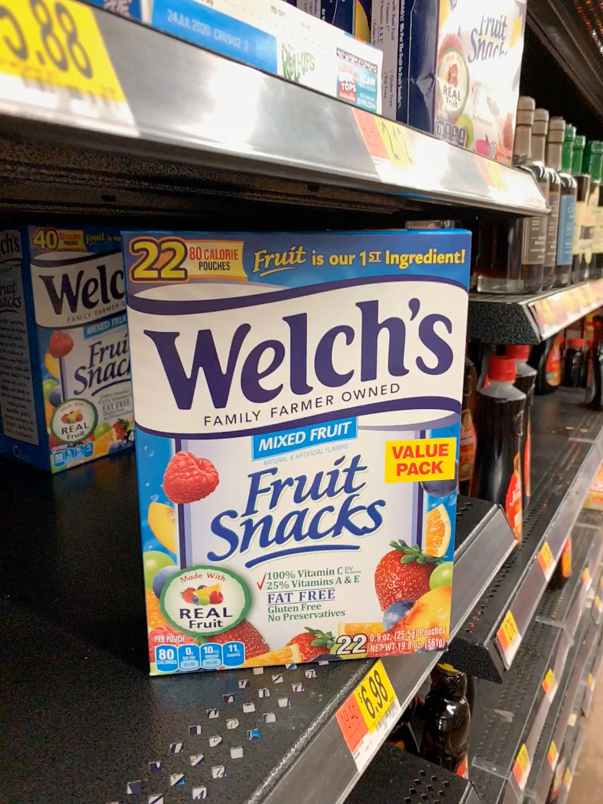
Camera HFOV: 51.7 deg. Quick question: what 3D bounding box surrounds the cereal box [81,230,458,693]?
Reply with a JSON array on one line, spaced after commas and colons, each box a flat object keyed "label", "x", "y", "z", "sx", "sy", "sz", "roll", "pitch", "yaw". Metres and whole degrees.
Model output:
[{"label": "cereal box", "x": -0.013, "y": 0.028, "z": 0.335, "sx": 0.170, "sy": 0.229, "sz": 0.060, "roll": -3, "pitch": 14, "yaw": -7}]
